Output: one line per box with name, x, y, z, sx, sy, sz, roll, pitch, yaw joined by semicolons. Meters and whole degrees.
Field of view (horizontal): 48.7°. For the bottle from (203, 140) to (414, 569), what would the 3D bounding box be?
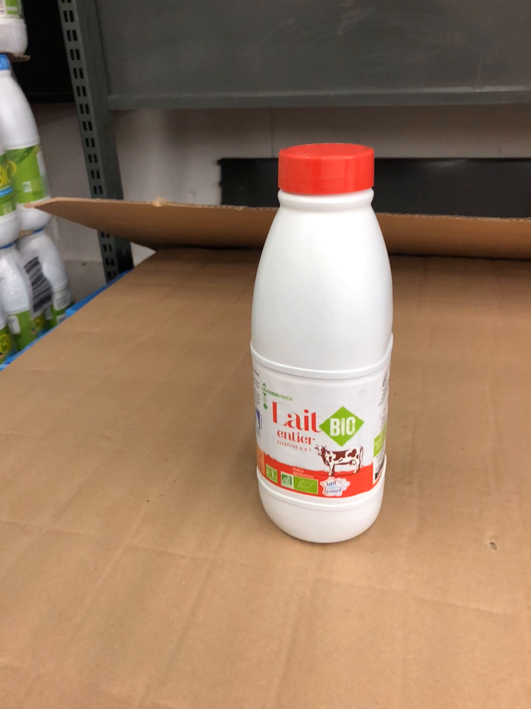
bottle;0.030;0.003;0.340;0.090;0.229;0.081;5;28;13
